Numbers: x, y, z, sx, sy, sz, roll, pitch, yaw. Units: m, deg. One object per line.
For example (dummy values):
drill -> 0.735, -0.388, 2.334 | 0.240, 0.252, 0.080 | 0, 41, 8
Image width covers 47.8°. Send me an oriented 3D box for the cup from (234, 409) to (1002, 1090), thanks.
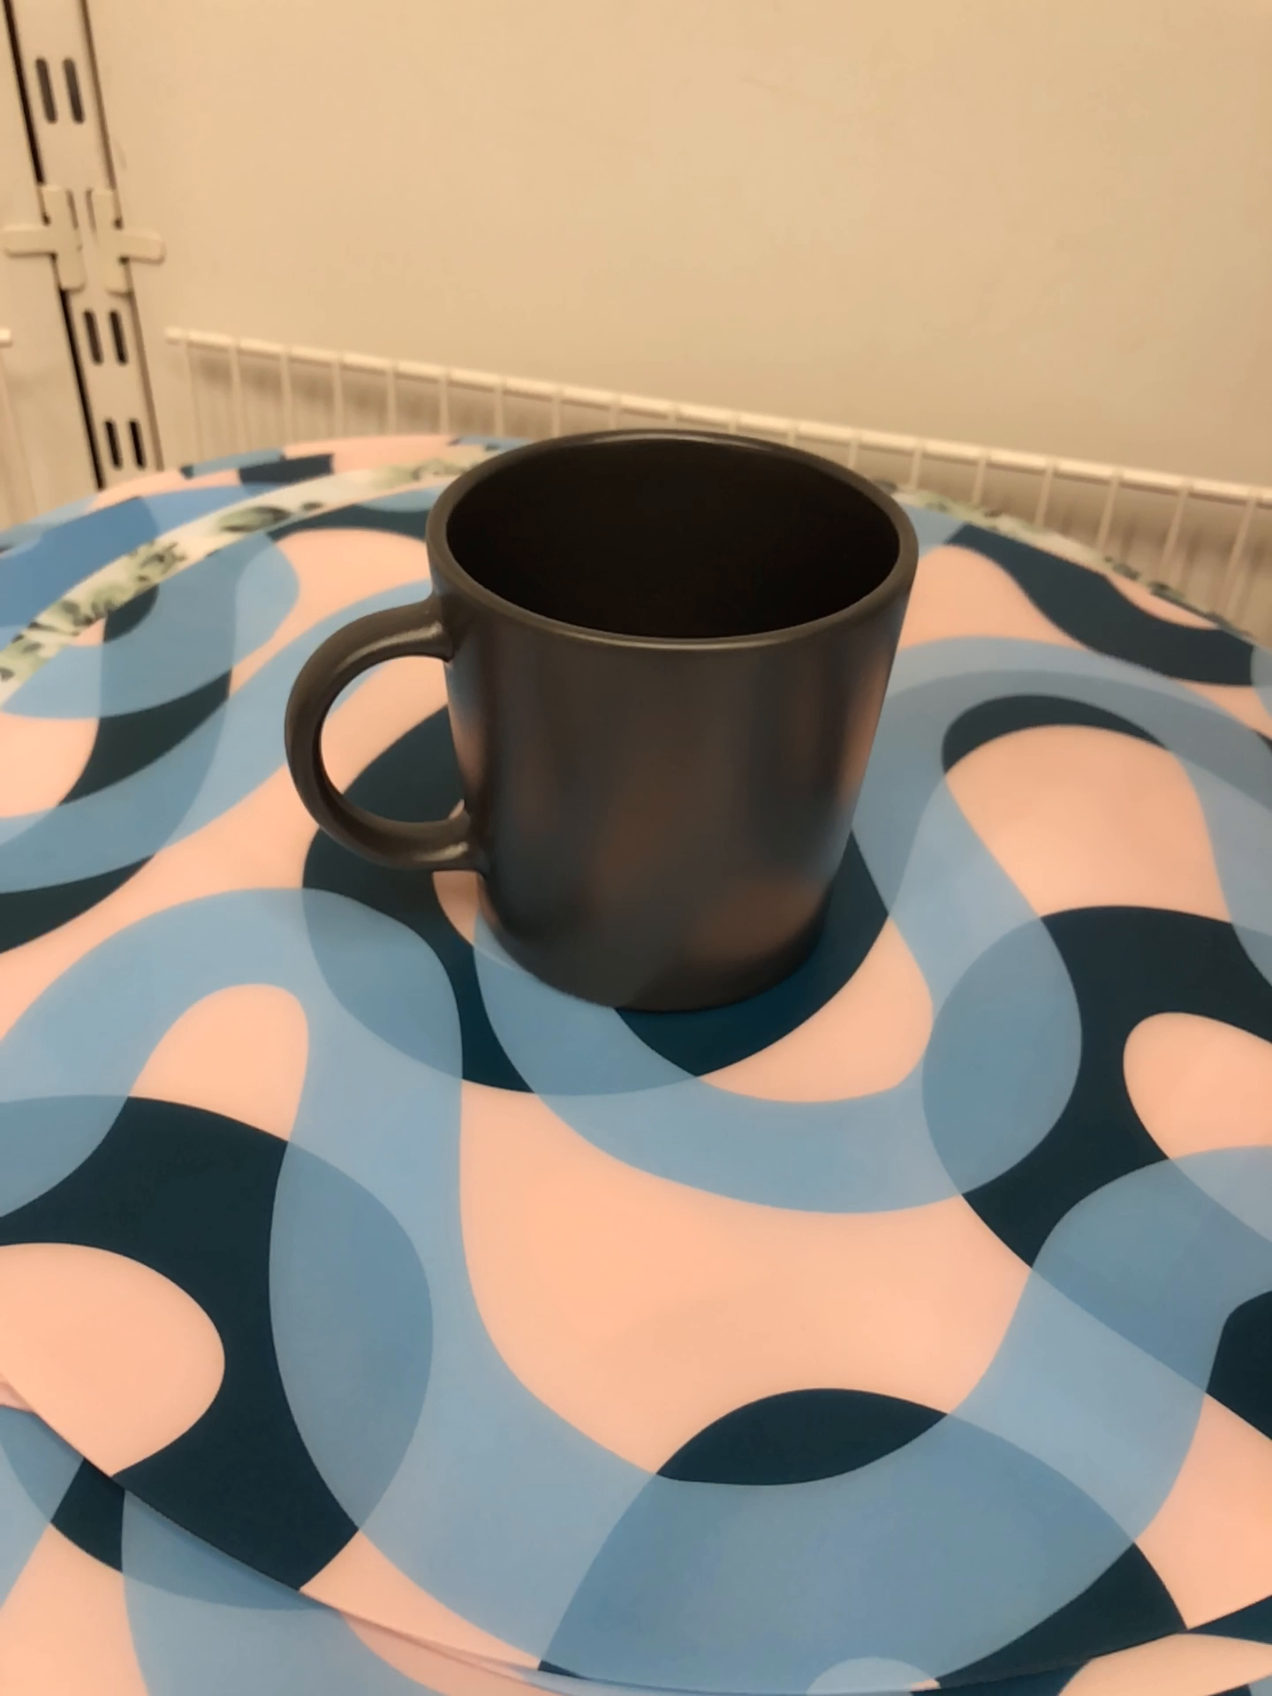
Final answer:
cup -> -0.010, -0.024, 0.282 | 0.120, 0.090, 0.090 | -6, 37, -11
